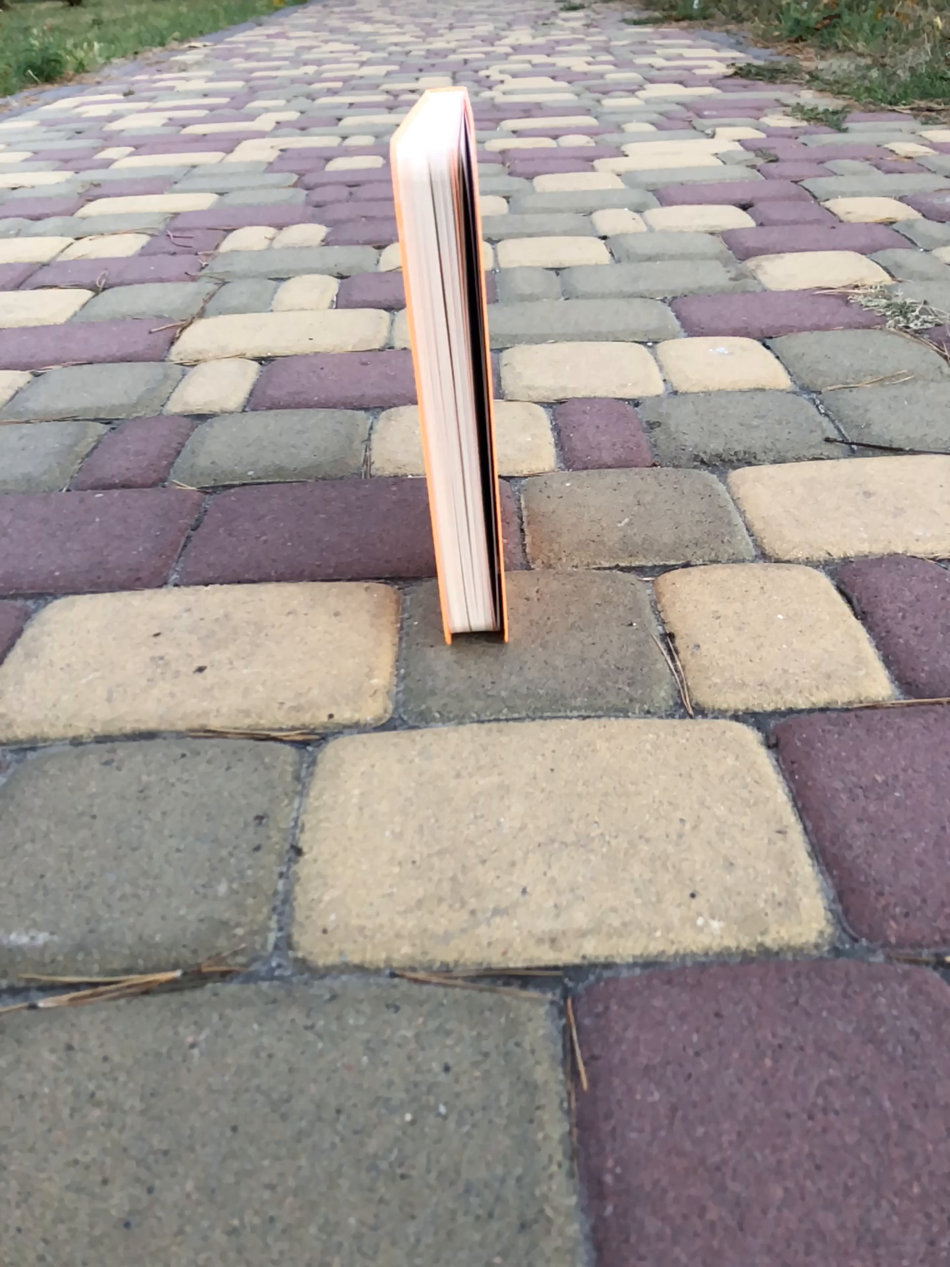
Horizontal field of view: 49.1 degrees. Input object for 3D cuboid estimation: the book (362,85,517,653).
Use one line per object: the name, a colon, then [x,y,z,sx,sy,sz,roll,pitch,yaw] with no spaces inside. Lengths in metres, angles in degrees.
book: [-0.007,-0.121,0.460,0.040,0.200,0.165,-2,32,4]
